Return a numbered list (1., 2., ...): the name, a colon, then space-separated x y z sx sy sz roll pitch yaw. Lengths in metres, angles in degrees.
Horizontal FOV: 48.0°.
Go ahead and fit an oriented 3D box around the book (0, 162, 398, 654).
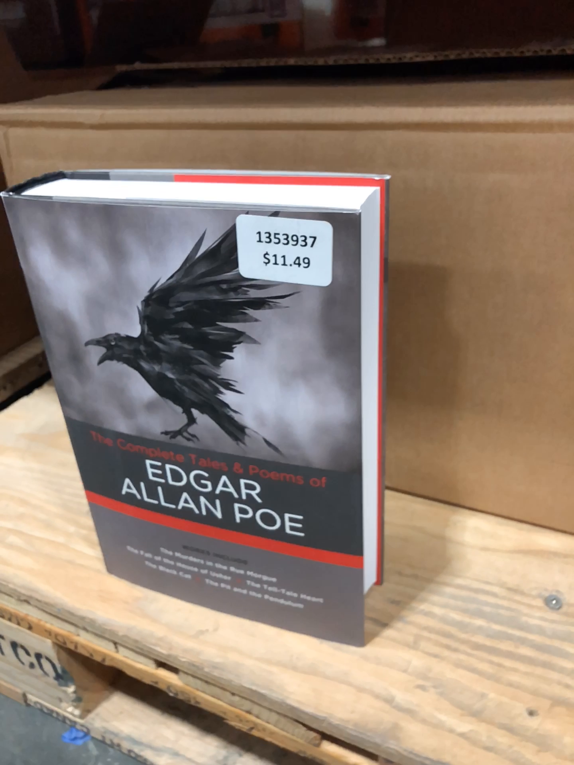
1. book: -0.035 0.017 0.334 0.171 0.240 0.054 8 33 21
